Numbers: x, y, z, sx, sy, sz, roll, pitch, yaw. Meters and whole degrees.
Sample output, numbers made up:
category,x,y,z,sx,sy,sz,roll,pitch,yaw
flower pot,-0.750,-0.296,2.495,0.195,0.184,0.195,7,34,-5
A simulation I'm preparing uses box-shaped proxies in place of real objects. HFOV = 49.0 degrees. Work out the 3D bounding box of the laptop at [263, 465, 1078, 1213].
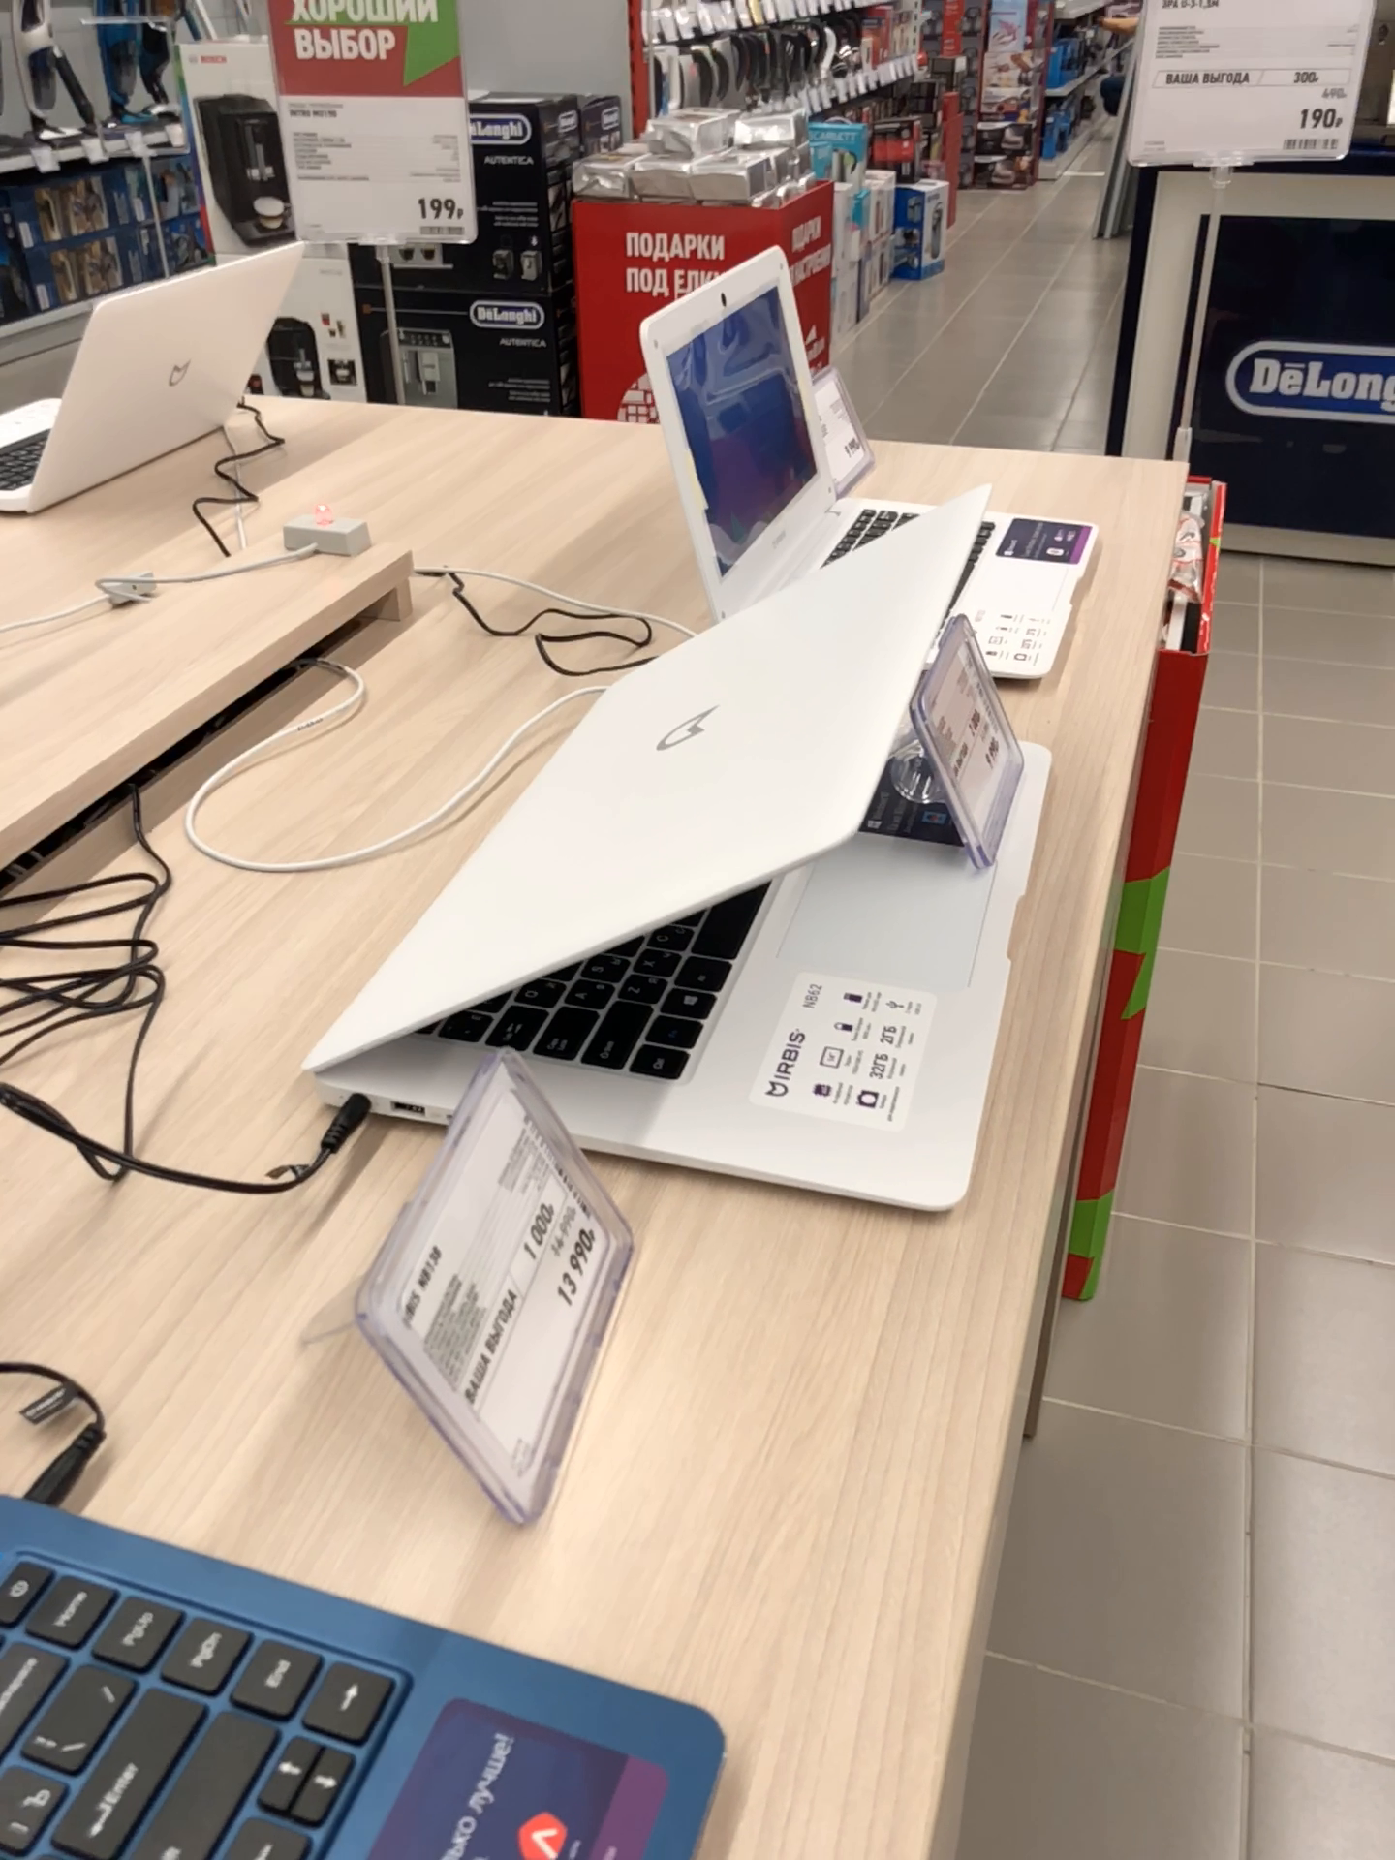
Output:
category,x,y,z,sx,sy,sz,roll,pitch,yaw
laptop,0.022,-0.070,0.616,0.223,0.115,0.351,10,33,12

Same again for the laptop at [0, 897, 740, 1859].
category,x,y,z,sx,sy,sz,roll,pitch,yaw
laptop,-0.191,0.160,0.208,0.318,0.162,0.311,8,32,15

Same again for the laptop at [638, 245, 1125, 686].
category,x,y,z,sx,sy,sz,roll,pitch,yaw
laptop,0.119,-0.296,0.930,0.230,0.168,0.264,10,35,17
